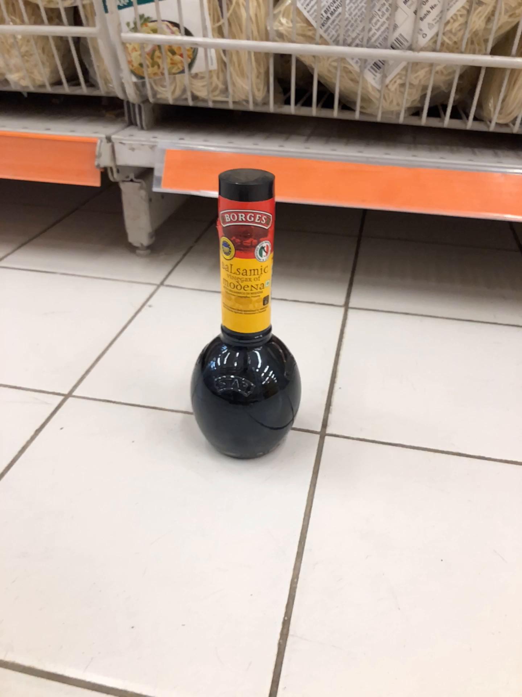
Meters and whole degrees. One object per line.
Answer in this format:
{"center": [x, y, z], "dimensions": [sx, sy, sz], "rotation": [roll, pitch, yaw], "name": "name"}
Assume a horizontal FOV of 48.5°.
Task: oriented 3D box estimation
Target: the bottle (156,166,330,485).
{"center": [-0.008, -0.013, 0.372], "dimensions": [0.080, 0.179, 0.081], "rotation": [1, 31, 0], "name": "bottle"}
